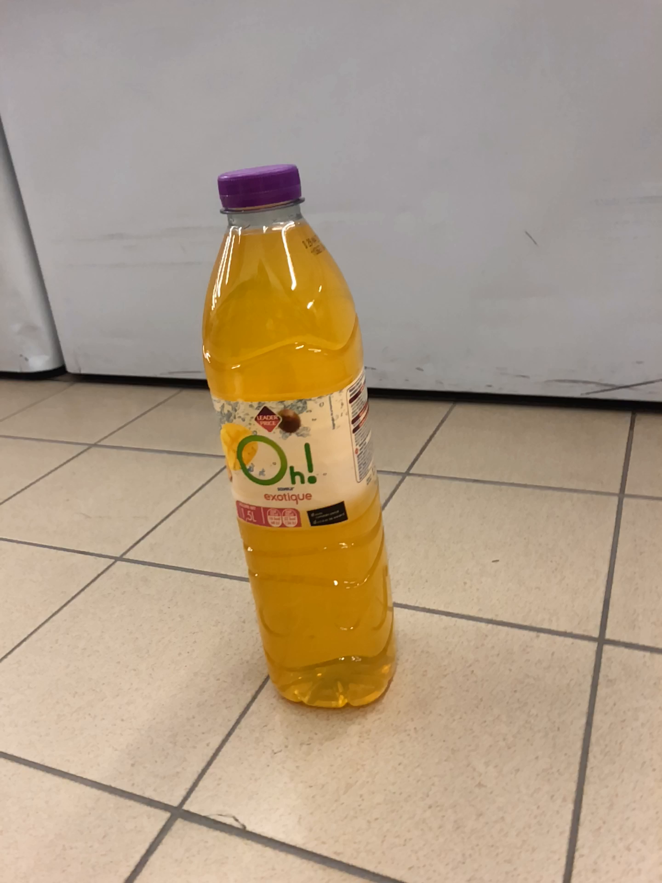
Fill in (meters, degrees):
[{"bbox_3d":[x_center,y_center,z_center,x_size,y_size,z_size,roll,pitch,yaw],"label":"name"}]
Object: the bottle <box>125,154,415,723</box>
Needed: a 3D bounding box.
[{"bbox_3d":[-0.018,0.005,0.411,0.100,0.299,0.091,0,24,16],"label":"bottle"}]
